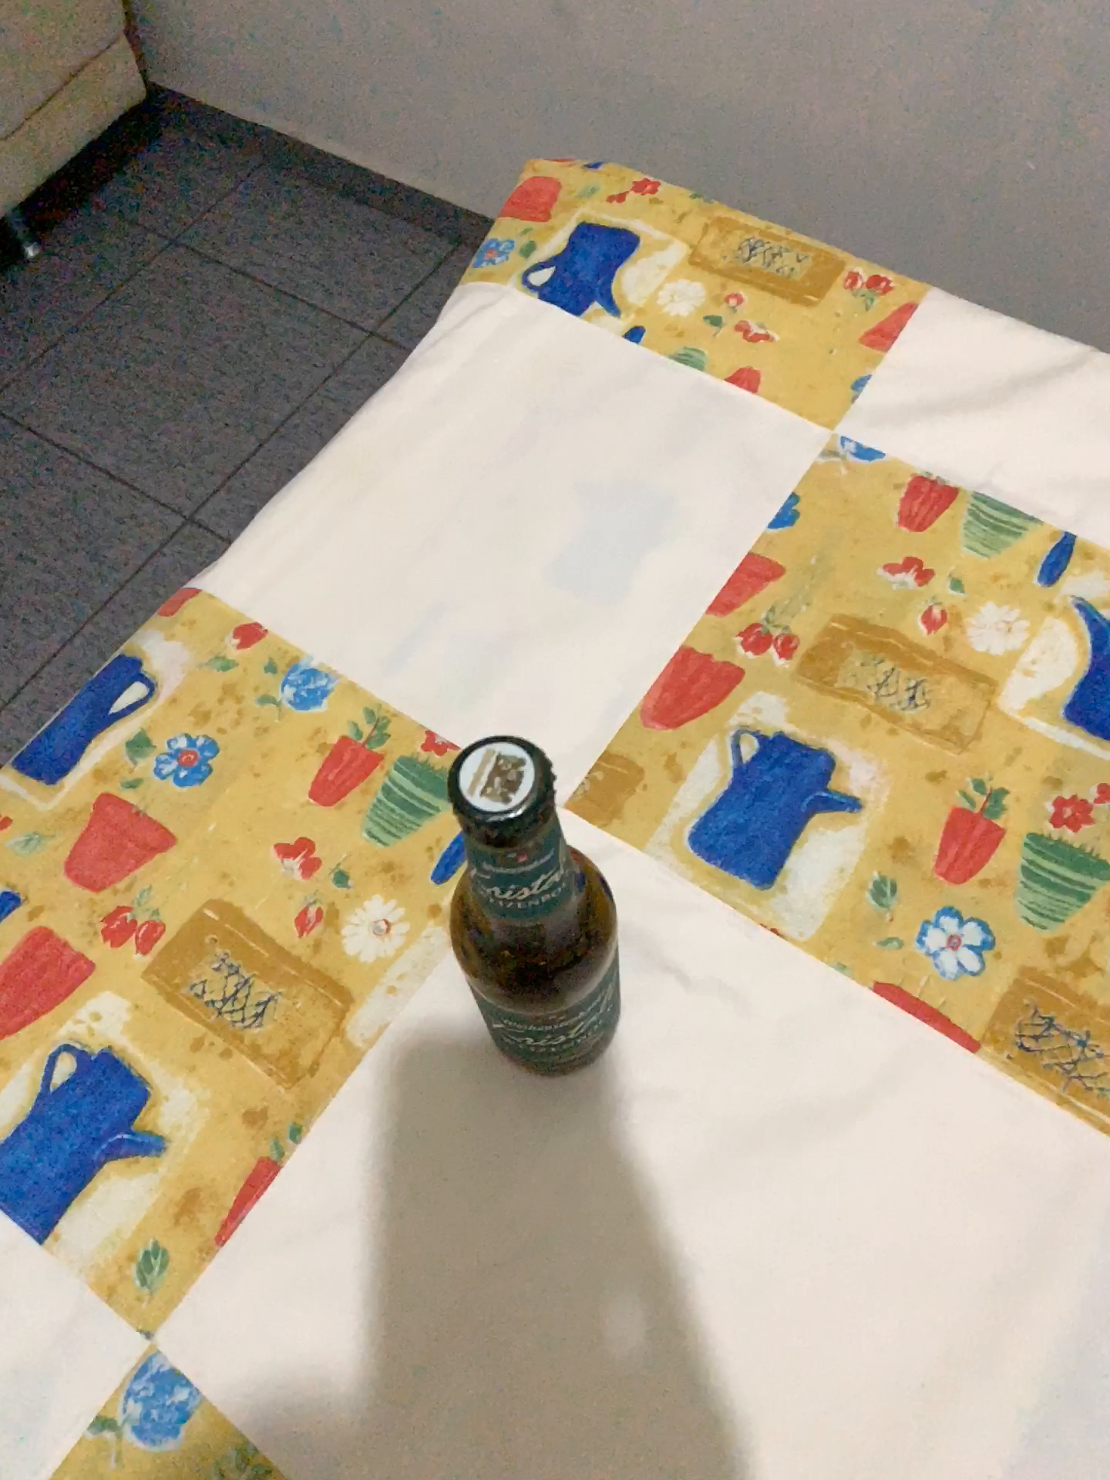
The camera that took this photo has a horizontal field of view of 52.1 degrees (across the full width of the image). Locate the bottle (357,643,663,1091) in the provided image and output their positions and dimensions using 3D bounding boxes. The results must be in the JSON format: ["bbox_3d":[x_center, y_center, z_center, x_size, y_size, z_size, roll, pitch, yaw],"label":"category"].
[{"bbox_3d":[-0.006,0.061,0.393,0.070,0.229,0.060,-11,61,-2],"label":"bottle"}]
